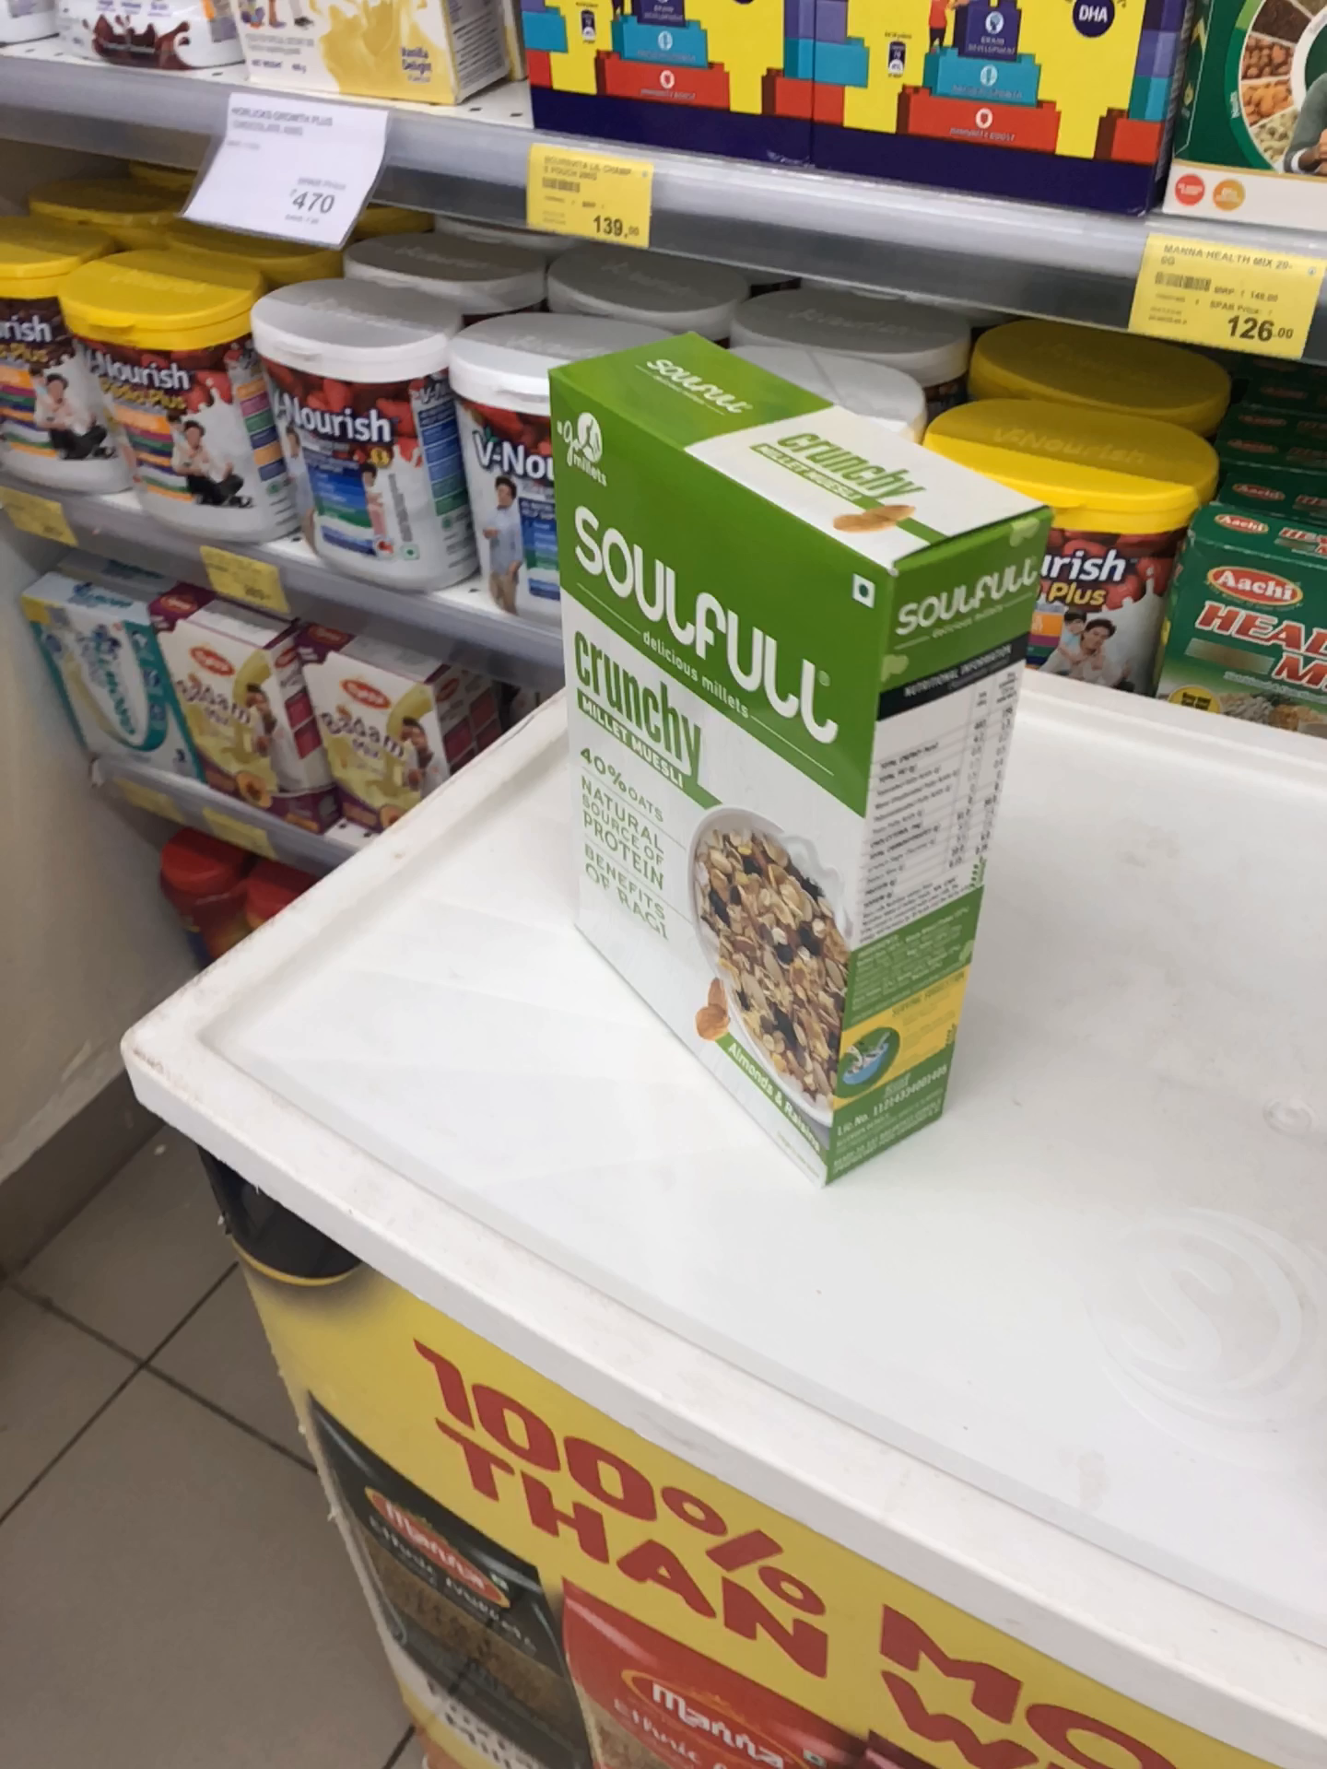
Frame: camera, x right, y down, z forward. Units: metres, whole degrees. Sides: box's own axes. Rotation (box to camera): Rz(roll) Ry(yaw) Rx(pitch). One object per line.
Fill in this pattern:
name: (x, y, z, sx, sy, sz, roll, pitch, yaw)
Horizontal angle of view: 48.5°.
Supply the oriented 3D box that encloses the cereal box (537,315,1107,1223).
cereal box: (0.044, -0.038, 0.506, 0.070, 0.249, 0.181, -24, 44, -22)
